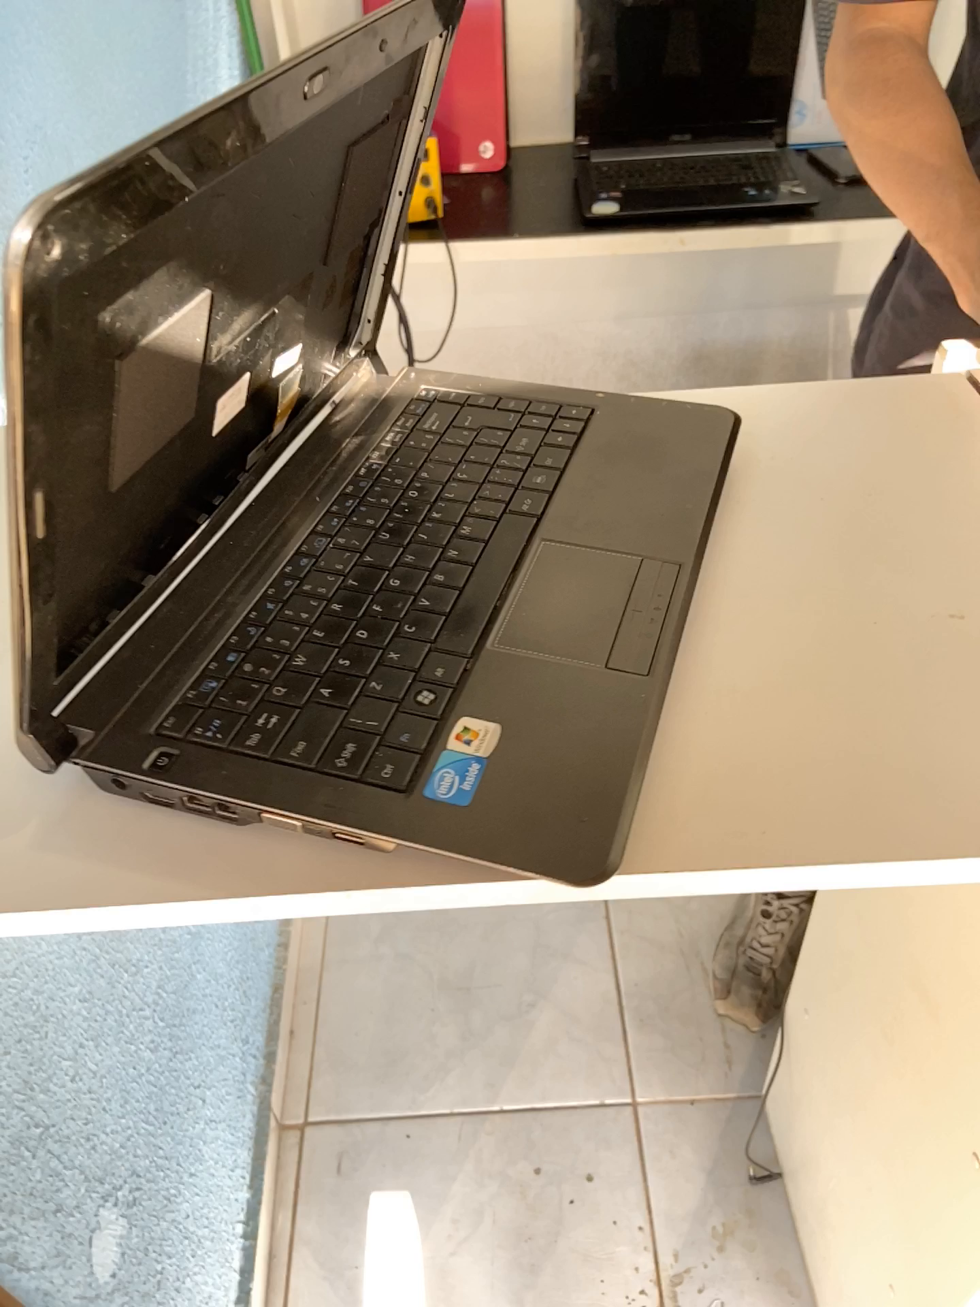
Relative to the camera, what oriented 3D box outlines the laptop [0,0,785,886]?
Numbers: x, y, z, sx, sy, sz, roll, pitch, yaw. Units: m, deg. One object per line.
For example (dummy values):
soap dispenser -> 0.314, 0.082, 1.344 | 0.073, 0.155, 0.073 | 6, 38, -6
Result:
laptop -> -0.014, -0.124, 0.417 | 0.206, 0.206, 0.332 | 10, 44, 15
